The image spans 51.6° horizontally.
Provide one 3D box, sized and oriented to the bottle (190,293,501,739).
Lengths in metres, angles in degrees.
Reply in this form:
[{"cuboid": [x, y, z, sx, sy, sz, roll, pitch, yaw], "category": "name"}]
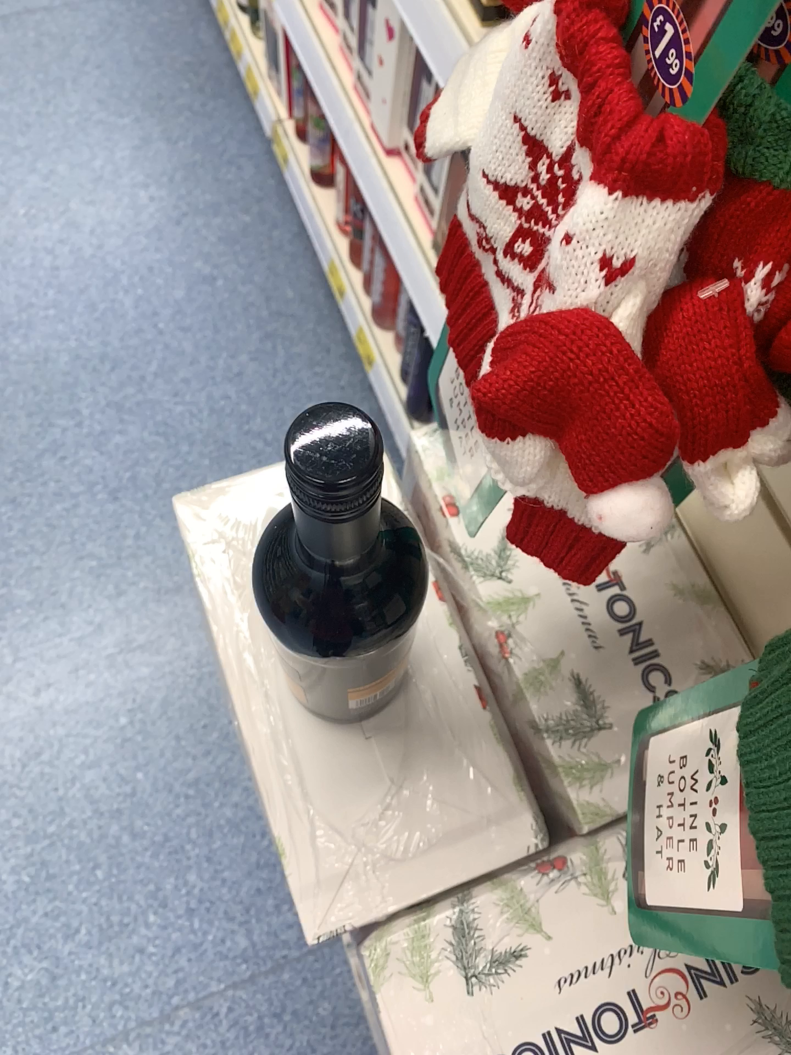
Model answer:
[{"cuboid": [-0.023, 0.027, 0.368, 0.074, 0.289, 0.078, 2, 67, -4], "category": "bottle"}]
